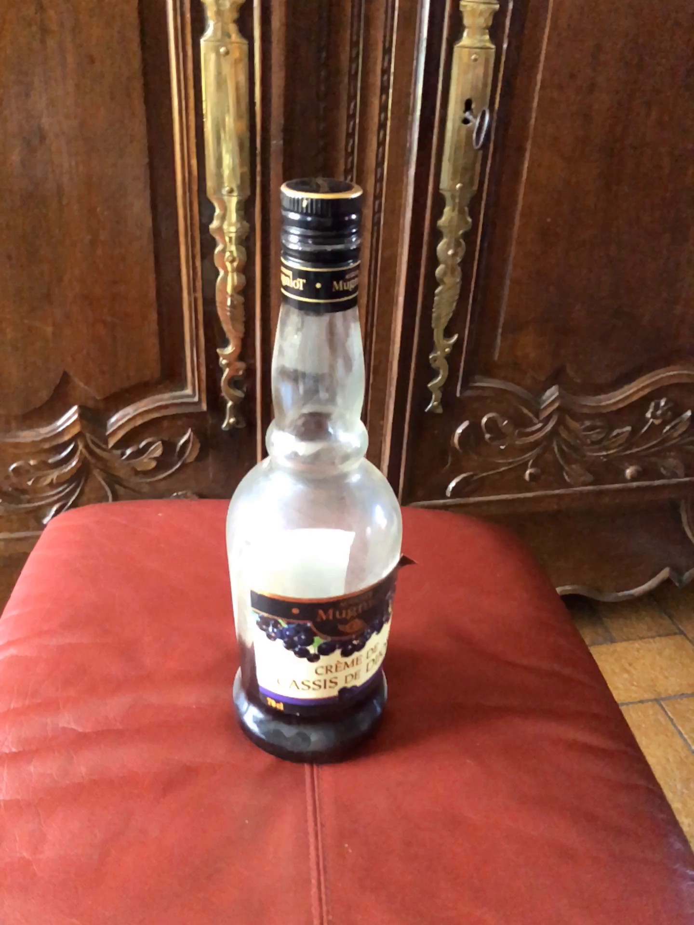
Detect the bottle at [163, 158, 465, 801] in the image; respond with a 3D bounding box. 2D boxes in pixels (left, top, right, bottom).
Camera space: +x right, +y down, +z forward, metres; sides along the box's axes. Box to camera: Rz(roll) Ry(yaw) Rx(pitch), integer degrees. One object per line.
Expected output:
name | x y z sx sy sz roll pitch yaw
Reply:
bottle | -0.021 0.017 0.350 0.080 0.278 0.080 3 31 -2
